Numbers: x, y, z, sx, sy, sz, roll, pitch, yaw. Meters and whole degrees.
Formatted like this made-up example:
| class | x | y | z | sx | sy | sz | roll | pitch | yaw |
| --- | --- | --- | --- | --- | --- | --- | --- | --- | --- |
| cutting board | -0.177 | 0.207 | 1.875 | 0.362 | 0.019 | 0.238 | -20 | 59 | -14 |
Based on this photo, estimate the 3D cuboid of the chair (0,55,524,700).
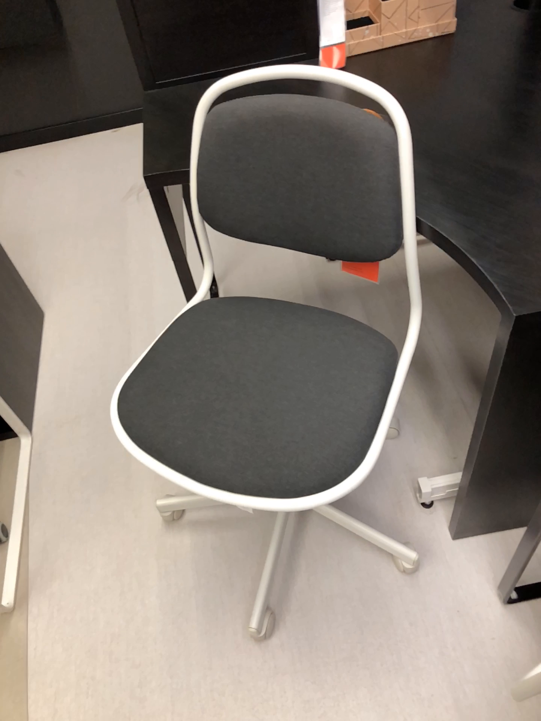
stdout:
| class | x | y | z | sx | sy | sz | roll | pitch | yaw |
| --- | --- | --- | --- | --- | --- | --- | --- | --- | --- |
| chair | -0.018 | 0.065 | 1.071 | 0.661 | 0.905 | 0.623 | 12 | 54 | 19 |
